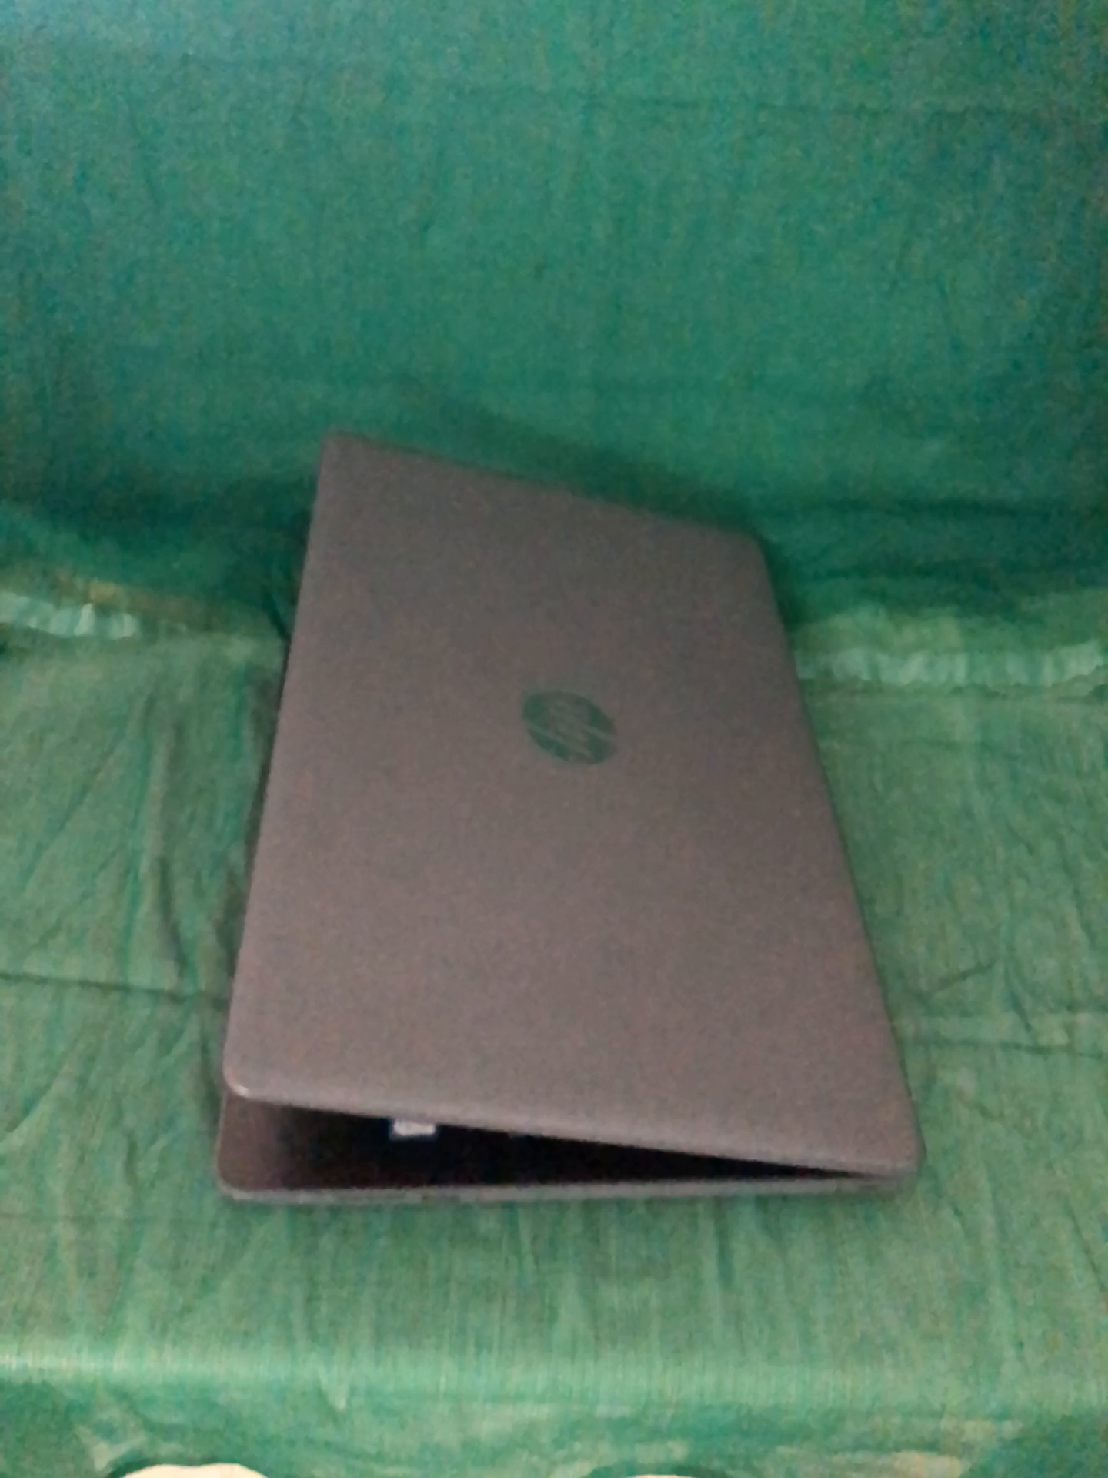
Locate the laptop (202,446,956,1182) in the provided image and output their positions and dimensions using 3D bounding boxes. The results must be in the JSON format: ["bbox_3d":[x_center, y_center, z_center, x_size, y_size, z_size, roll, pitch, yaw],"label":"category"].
[{"bbox_3d":[0.002,0.002,0.527,0.231,0.066,0.361,1,44,-3],"label":"laptop"}]
